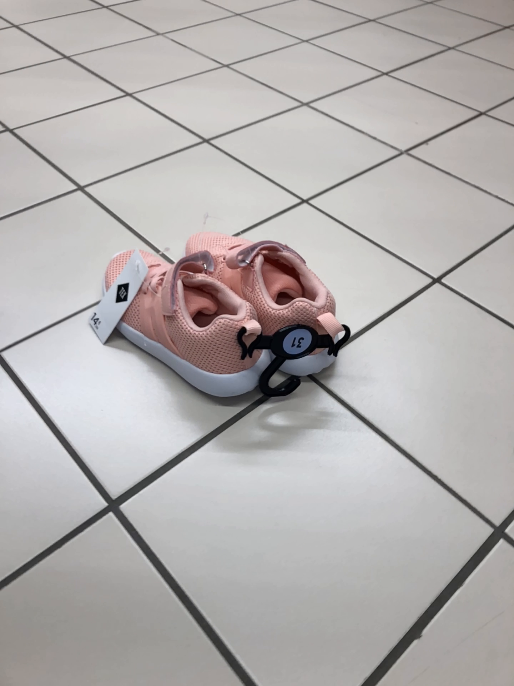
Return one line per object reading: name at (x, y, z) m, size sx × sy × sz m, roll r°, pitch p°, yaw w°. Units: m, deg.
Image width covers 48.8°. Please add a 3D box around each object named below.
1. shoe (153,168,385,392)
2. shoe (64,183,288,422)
shoe at (0.002, -0.067, 0.524) m, size 0.080 × 0.092 × 0.210 m, roll -32°, pitch 55°, yaw -29°
shoe at (-0.074, -0.044, 0.499) m, size 0.083 × 0.093 × 0.203 m, roll -30°, pitch 54°, yaw -28°
